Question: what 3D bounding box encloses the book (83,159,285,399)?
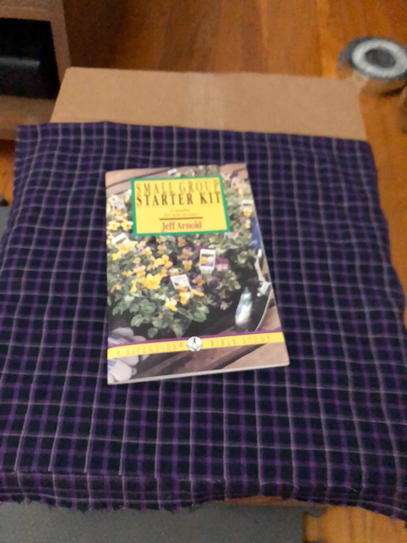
[{"bbox_3d":[-0.026,-0.008,0.396,0.150,0.010,0.221,-5,60,-5],"label":"book"}]
